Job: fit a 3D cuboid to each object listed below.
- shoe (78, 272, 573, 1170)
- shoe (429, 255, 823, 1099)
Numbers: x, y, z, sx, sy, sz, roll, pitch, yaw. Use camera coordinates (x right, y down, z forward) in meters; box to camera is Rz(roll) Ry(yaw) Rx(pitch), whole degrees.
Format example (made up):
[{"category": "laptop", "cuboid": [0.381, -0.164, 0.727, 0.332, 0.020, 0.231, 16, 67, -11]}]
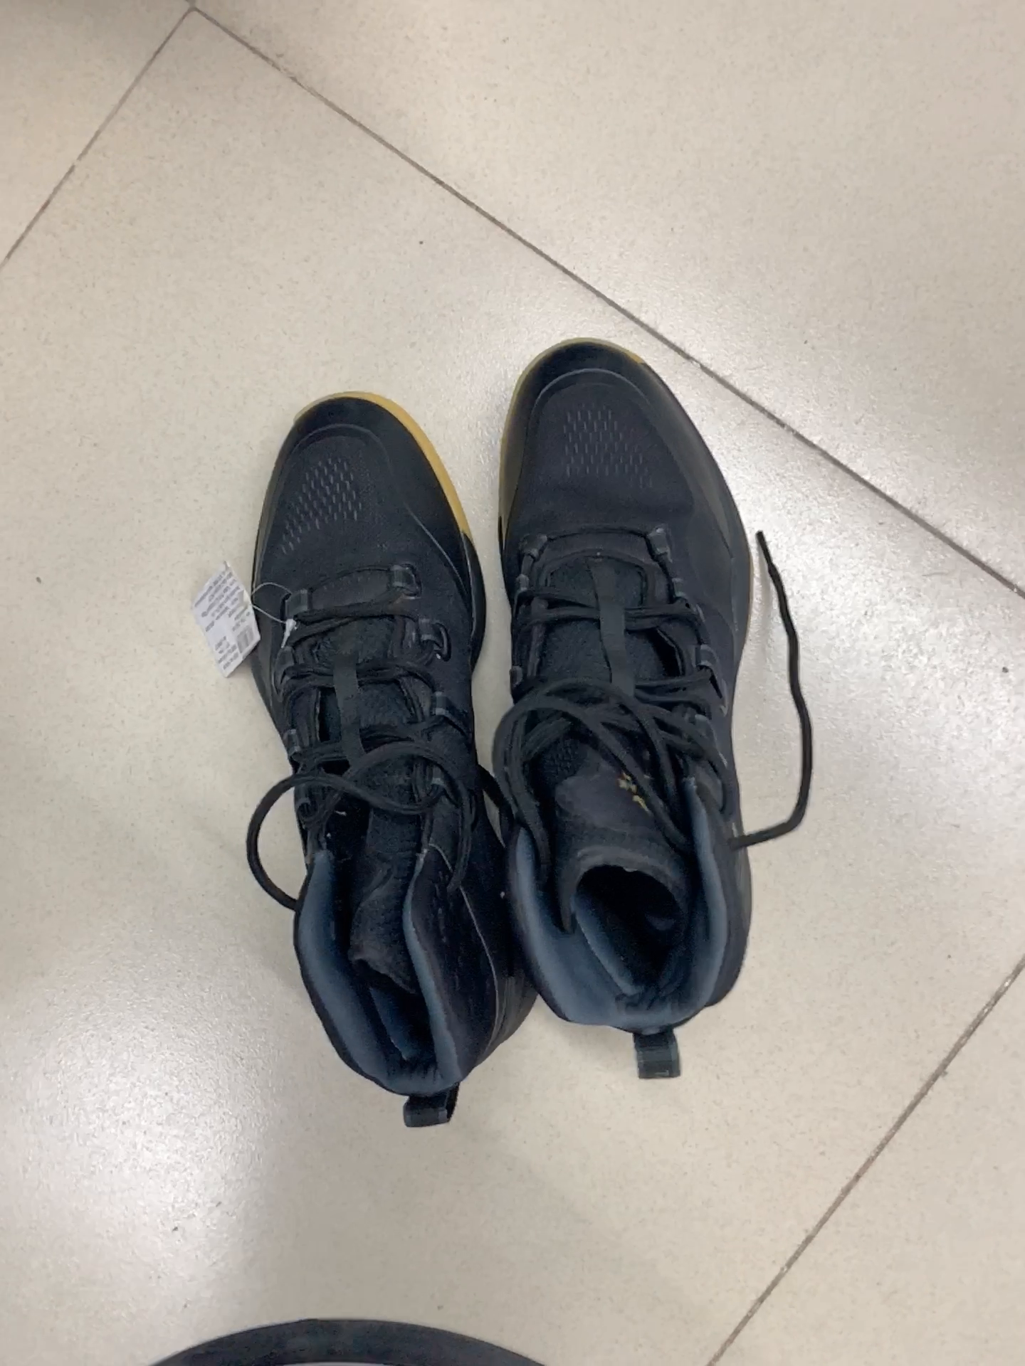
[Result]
[{"category": "shoe", "cuboid": [-0.063, 0.014, 0.424, 0.110, 0.140, 0.290, -12, 87, 6]}, {"category": "shoe", "cuboid": [0.043, -0.001, 0.413, 0.110, 0.090, 0.290, -6, 88, 6]}]
